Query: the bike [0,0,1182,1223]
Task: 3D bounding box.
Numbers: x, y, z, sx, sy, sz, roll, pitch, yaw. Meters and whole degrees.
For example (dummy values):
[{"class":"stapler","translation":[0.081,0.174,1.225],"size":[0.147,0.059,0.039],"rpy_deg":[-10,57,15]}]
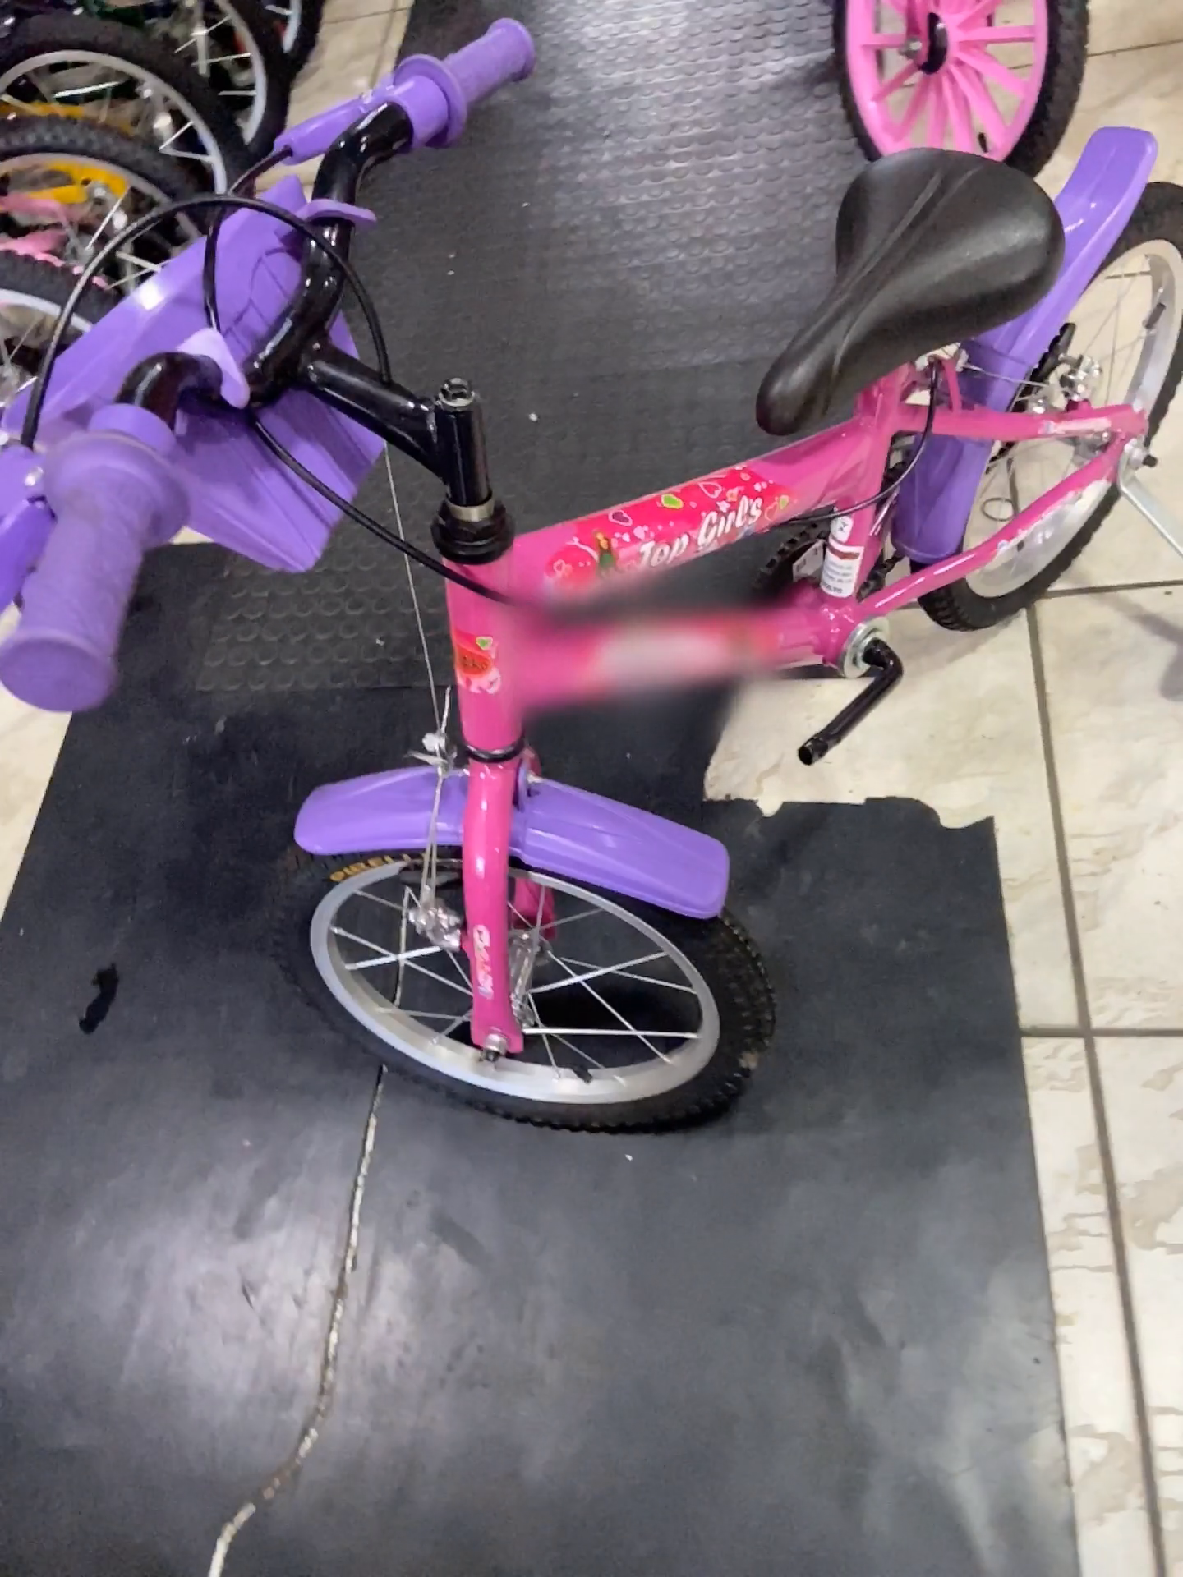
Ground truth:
[{"class":"bike","translation":[0.054,-0.239,0.877],"size":[0.921,0.704,0.547],"rpy_deg":[-39,58,-6]}]
